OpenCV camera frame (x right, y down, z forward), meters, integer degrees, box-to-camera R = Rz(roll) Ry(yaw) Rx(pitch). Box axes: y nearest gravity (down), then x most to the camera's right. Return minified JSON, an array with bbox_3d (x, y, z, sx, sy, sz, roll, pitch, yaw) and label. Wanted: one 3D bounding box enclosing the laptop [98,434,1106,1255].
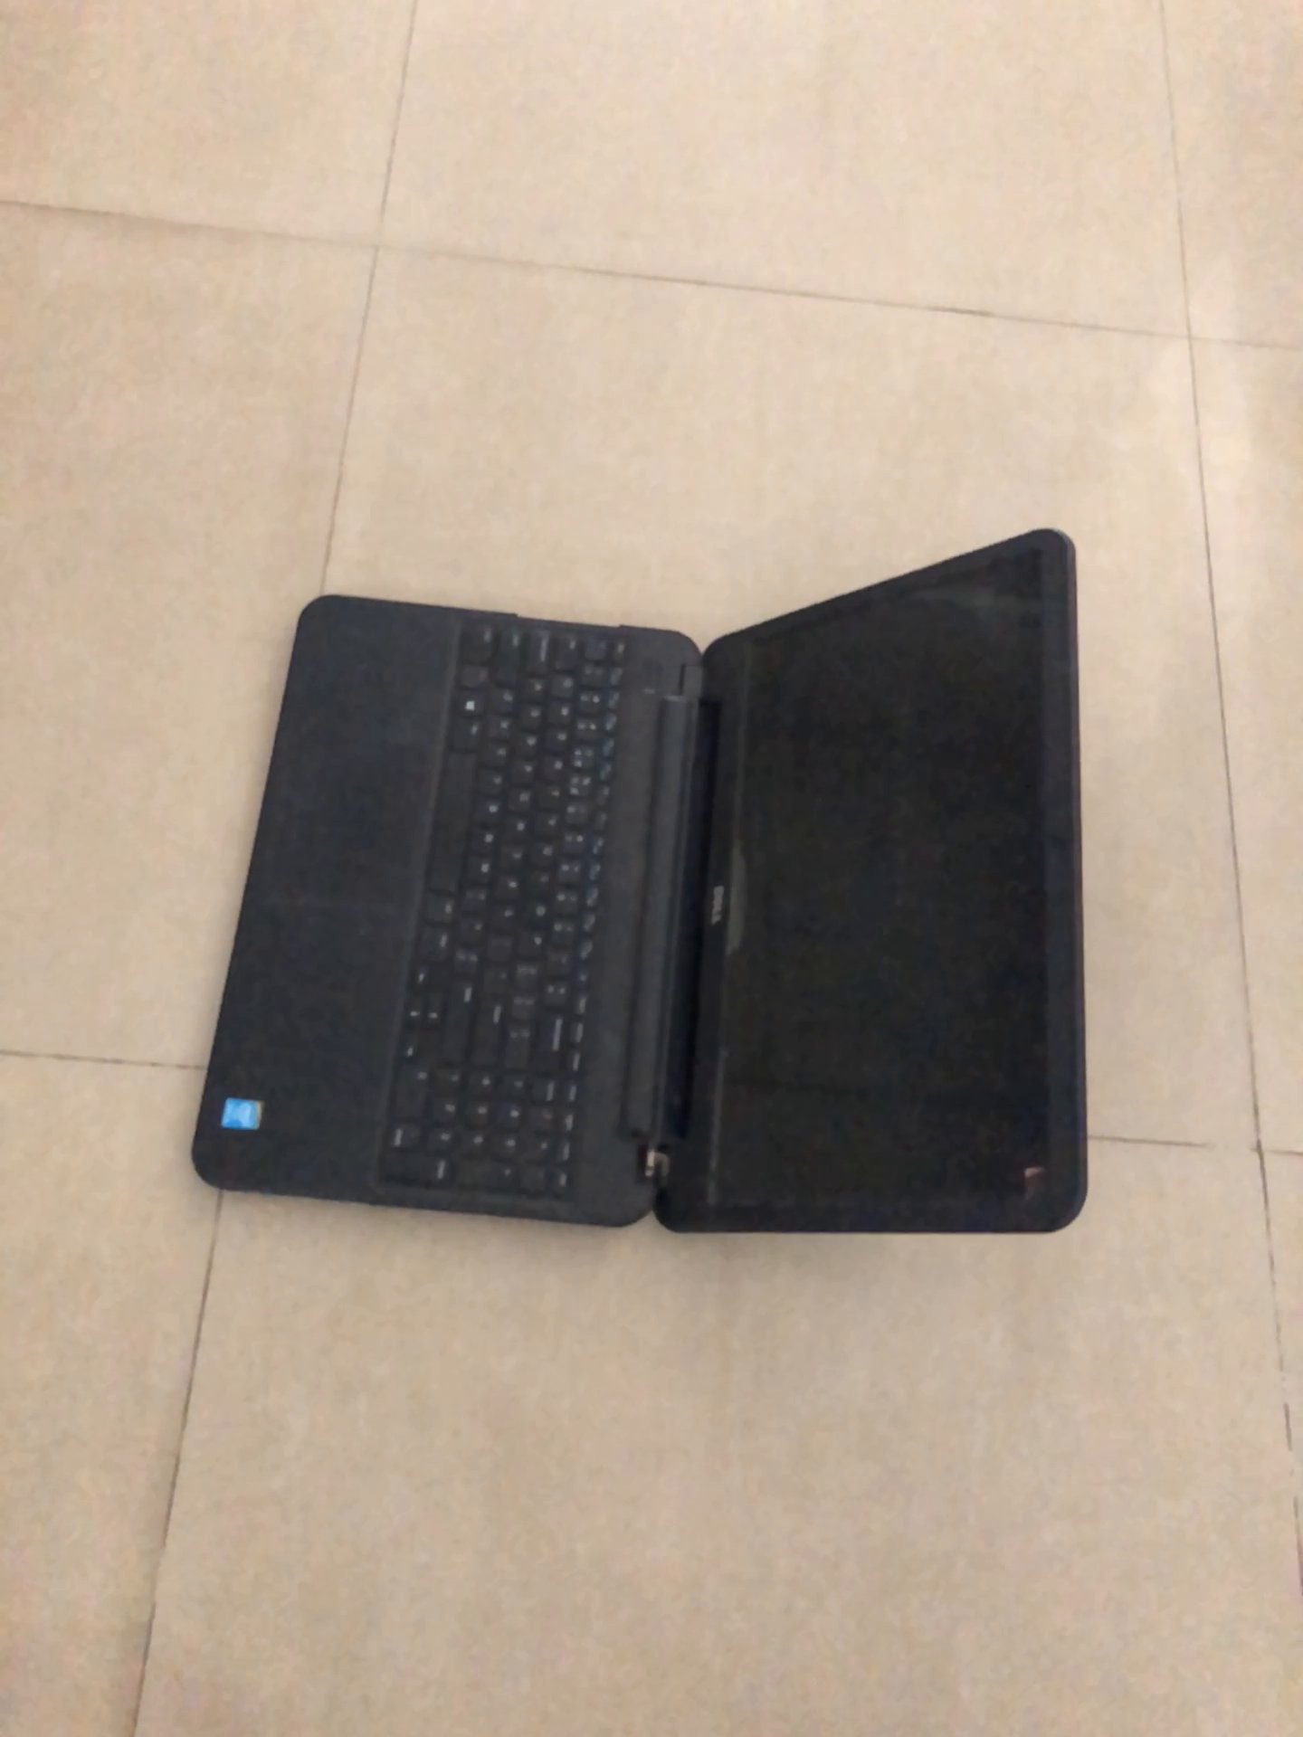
[{"bbox_3d":[-0.009,-0.008,0.748,0.427,0.164,0.358,6,69,-1],"label":"laptop"}]
